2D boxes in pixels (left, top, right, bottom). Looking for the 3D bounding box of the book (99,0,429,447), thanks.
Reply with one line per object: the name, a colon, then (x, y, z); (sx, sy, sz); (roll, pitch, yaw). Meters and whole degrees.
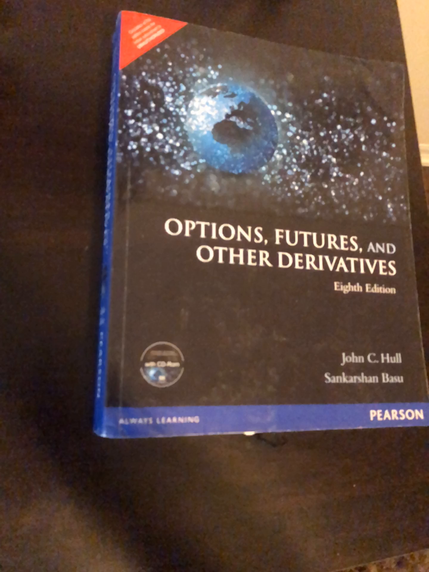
book: (0.036, -0.037, 0.317); (0.208, 0.050, 0.261); (3, 79, -17)
